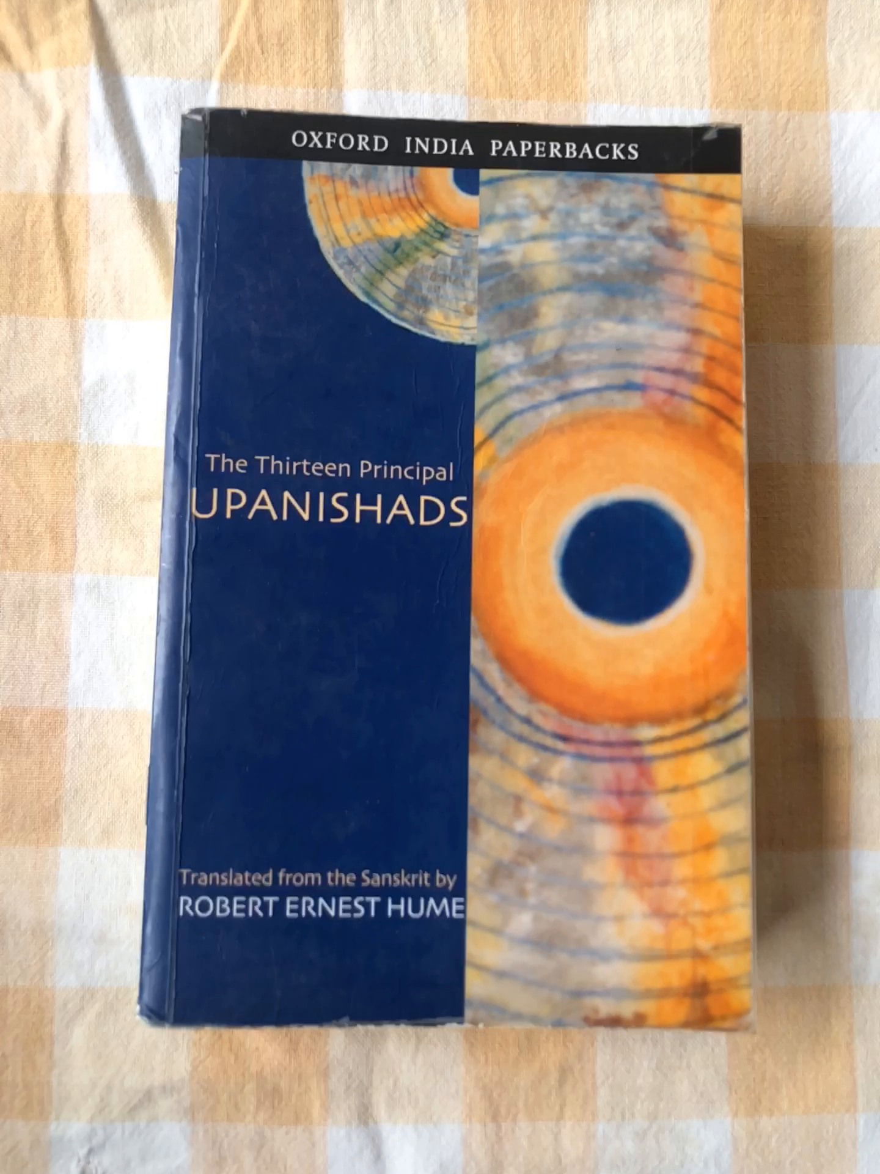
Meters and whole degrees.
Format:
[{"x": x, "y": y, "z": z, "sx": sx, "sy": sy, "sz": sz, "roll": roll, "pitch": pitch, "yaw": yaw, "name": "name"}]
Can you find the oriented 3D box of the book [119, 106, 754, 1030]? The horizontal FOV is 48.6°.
[{"x": 0.001, "y": -0.006, "z": 0.244, "sx": 0.140, "sy": 0.040, "sz": 0.210, "roll": 1, "pitch": 85, "yaw": -3, "name": "book"}]
